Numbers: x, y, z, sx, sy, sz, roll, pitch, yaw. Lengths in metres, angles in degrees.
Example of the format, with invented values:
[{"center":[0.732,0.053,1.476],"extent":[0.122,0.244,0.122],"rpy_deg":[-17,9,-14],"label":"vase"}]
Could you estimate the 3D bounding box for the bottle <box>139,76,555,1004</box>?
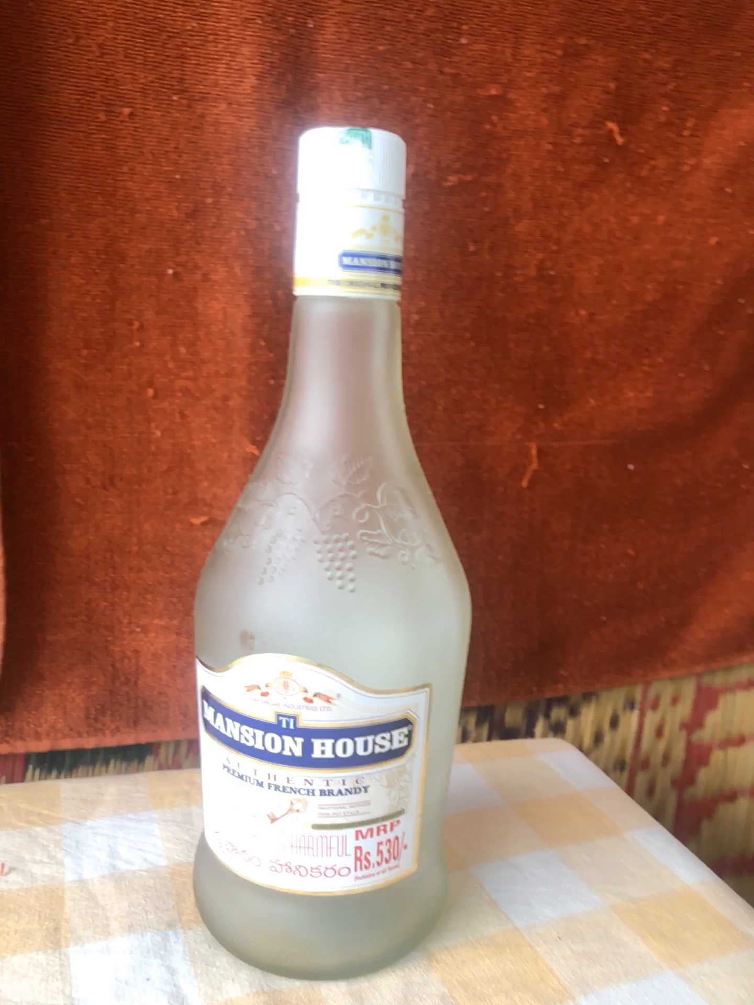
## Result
[{"center":[-0.008,0.011,0.270],"extent":[0.090,0.249,0.090],"rpy_deg":[5,12,-1],"label":"bottle"}]
